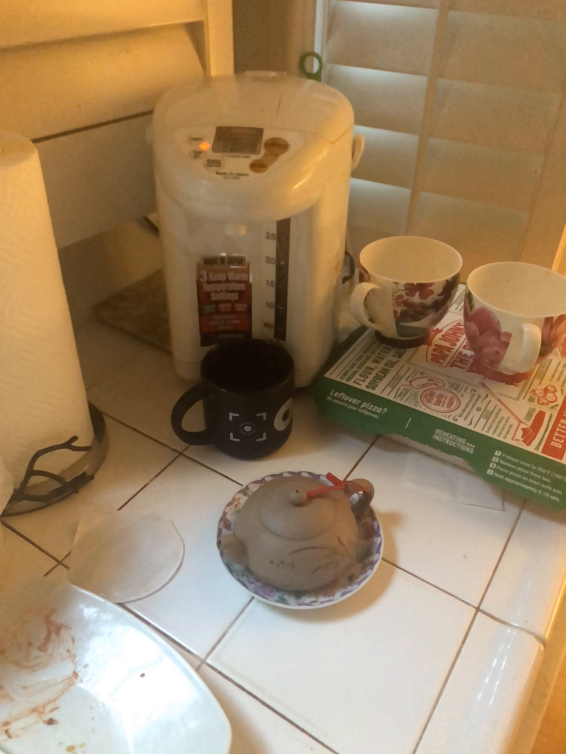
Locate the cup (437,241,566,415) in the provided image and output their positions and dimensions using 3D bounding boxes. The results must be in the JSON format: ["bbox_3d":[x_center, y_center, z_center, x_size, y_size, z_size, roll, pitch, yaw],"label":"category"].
[{"bbox_3d":[0.229,-0.055,0.615,0.100,0.079,0.161,18,40,20],"label":"cup"}]

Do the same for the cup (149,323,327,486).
[{"bbox_3d":[-0.042,0.022,0.608,0.141,0.079,0.090,-21,43,-27],"label":"cup"}]

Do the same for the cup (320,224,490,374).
[{"bbox_3d":[0.132,-0.091,0.679,0.100,0.079,0.161,30,45,32],"label":"cup"}]
